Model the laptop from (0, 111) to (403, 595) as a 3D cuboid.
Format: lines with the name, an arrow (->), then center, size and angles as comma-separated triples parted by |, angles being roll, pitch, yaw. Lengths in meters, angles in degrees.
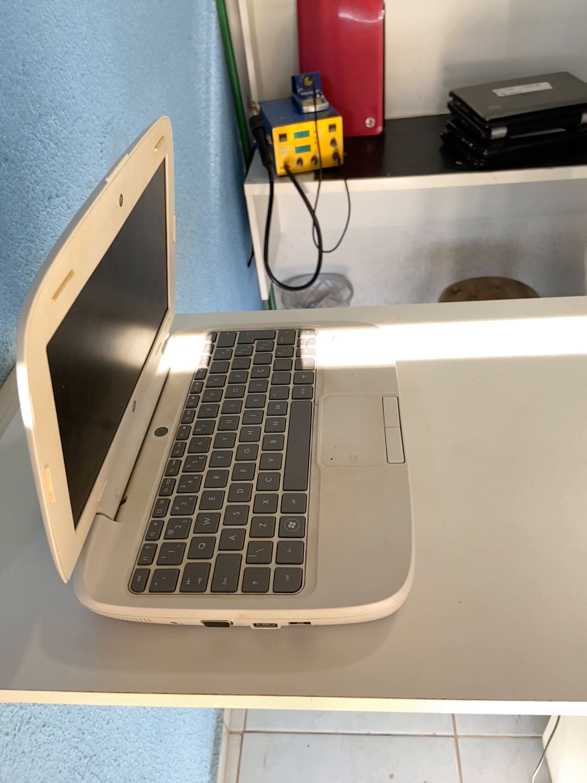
laptop -> -0.031, -0.036, 0.372 | 0.177, 0.172, 0.249 | -1, 41, 6
